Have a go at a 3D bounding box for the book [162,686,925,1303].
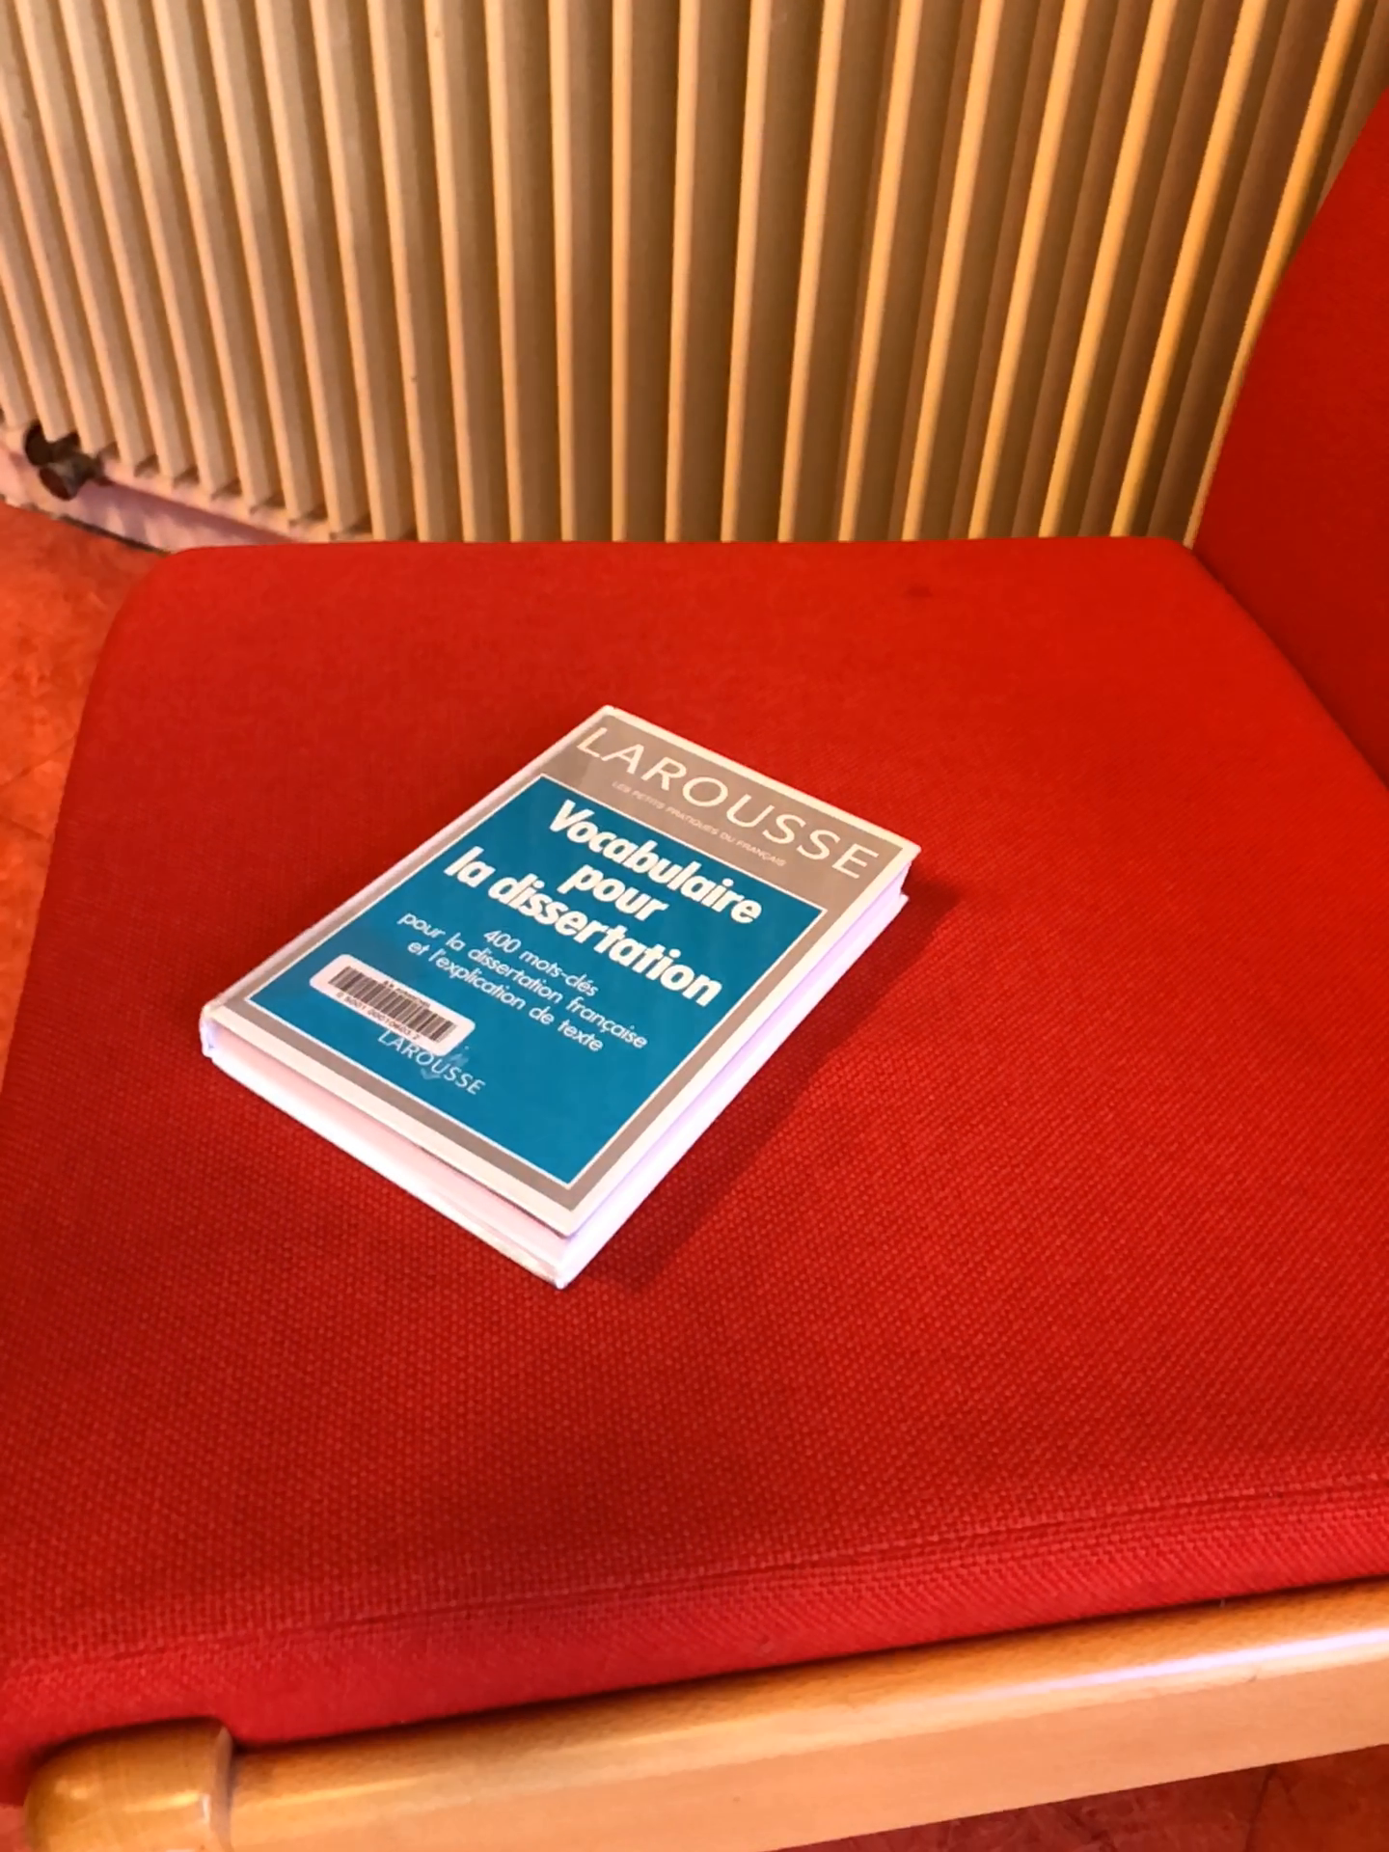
[{"bbox_3d":[-0.037,0.005,0.473,0.137,0.030,0.199,26,46,23],"label":"book"}]
